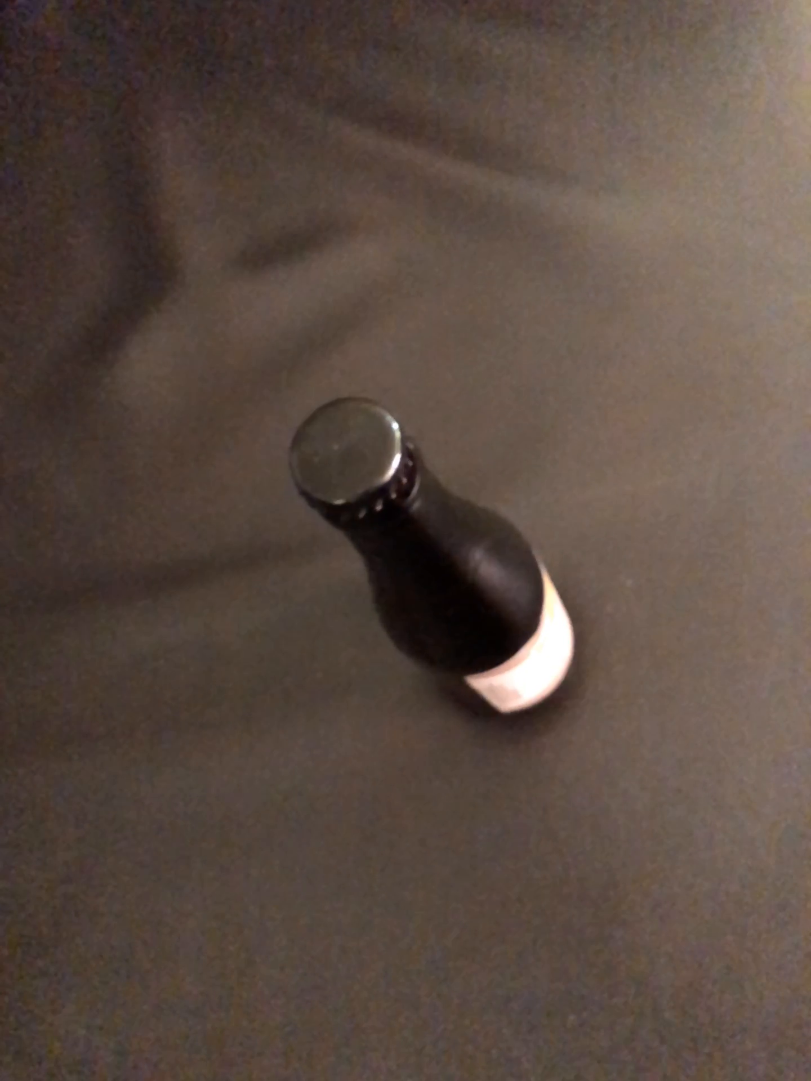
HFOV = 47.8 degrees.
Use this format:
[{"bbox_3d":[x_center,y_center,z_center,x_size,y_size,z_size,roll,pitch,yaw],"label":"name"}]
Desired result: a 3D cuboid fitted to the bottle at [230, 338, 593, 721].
[{"bbox_3d":[0.021,0.015,0.296,0.060,0.210,0.060,-5,72,15],"label":"bottle"}]
